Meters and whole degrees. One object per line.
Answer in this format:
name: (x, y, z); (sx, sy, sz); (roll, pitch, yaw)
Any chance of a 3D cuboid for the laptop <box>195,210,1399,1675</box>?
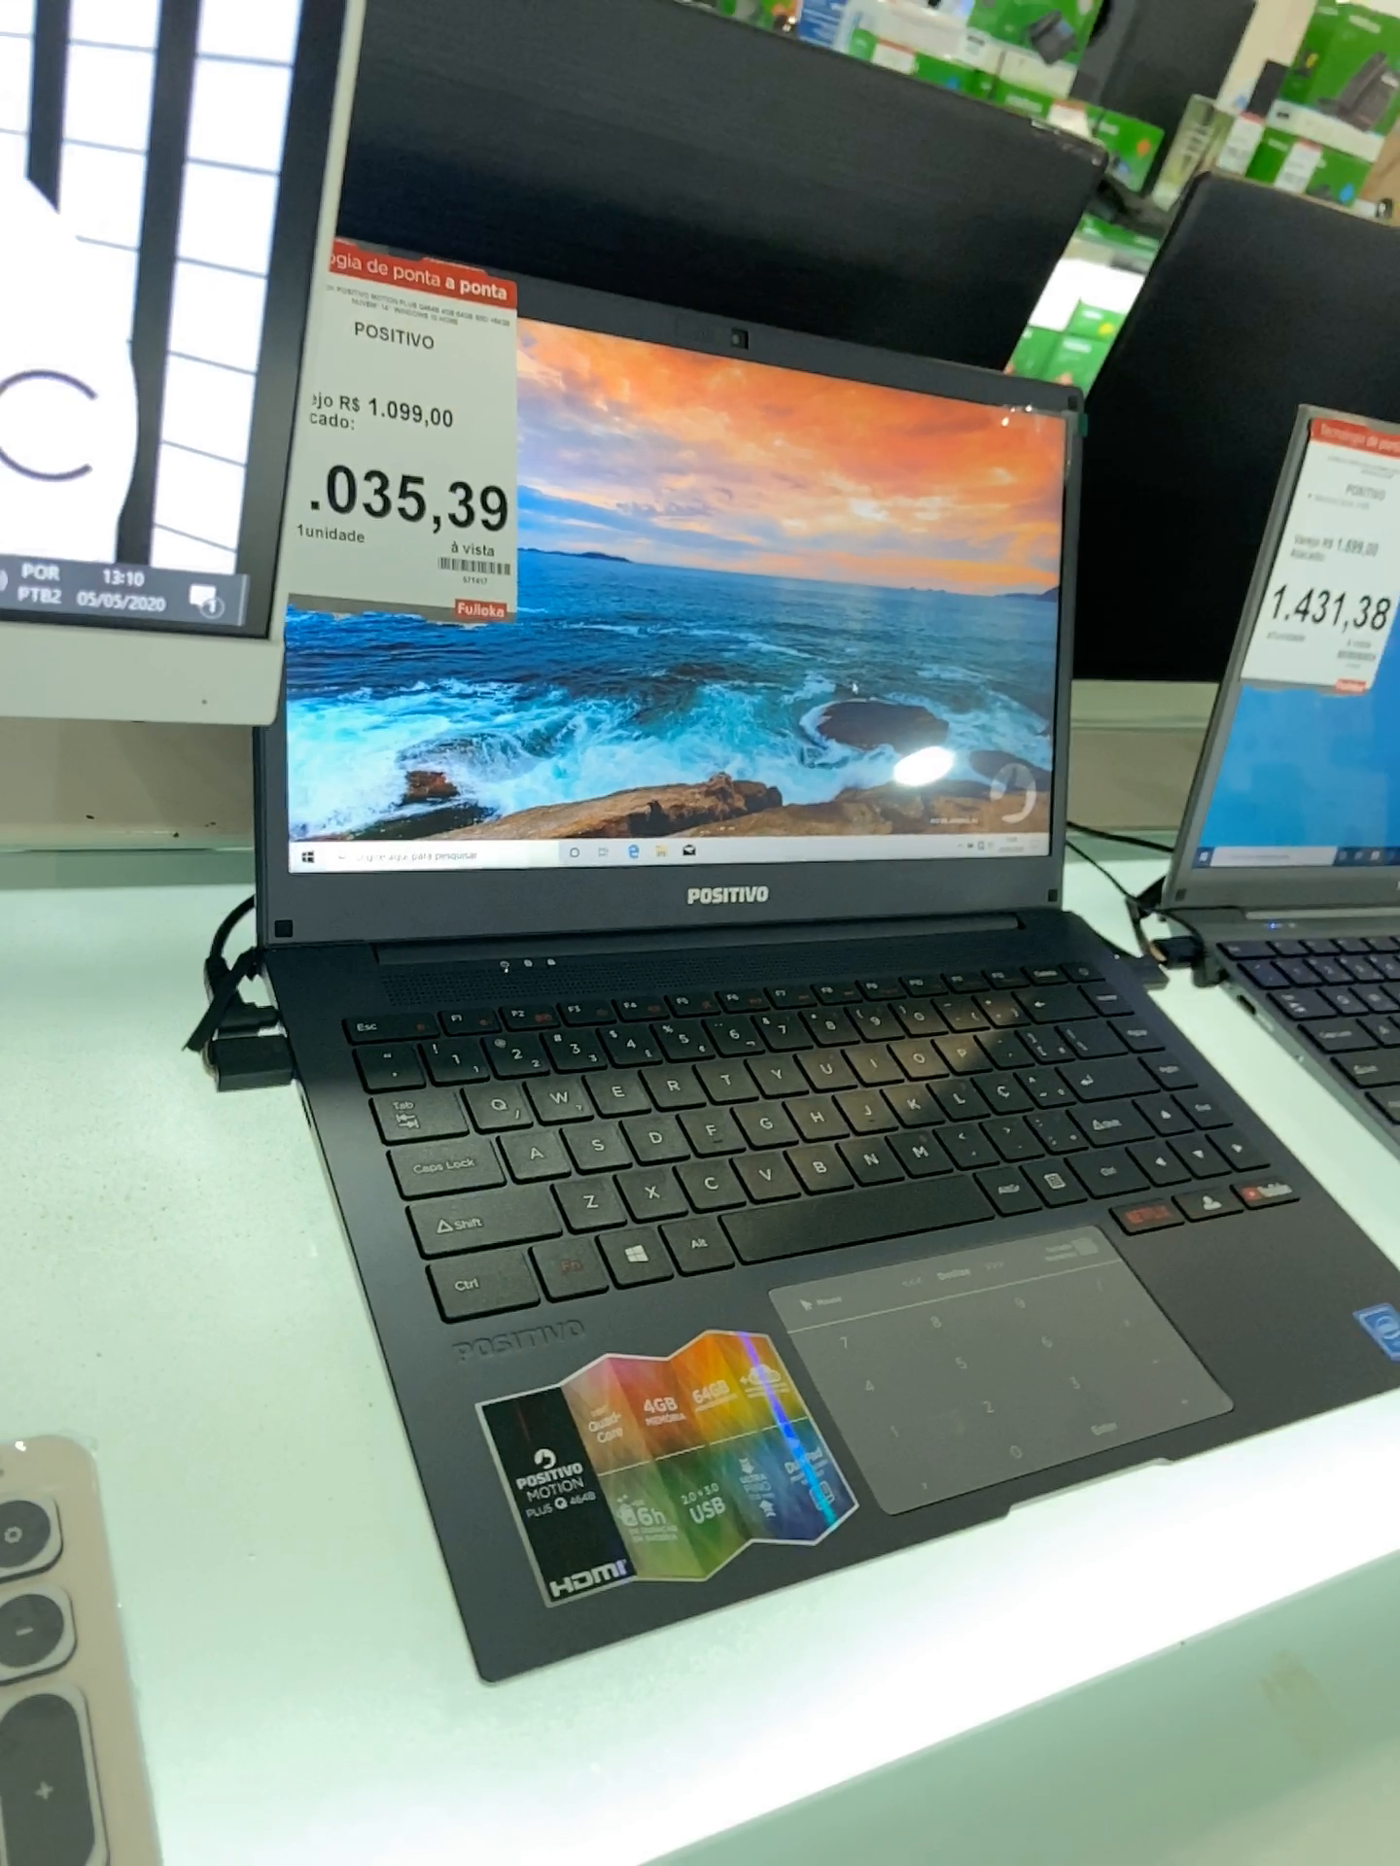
laptop: (0.055, -0.039, 0.444); (0.335, 0.175, 0.355); (-2, 41, -30)
